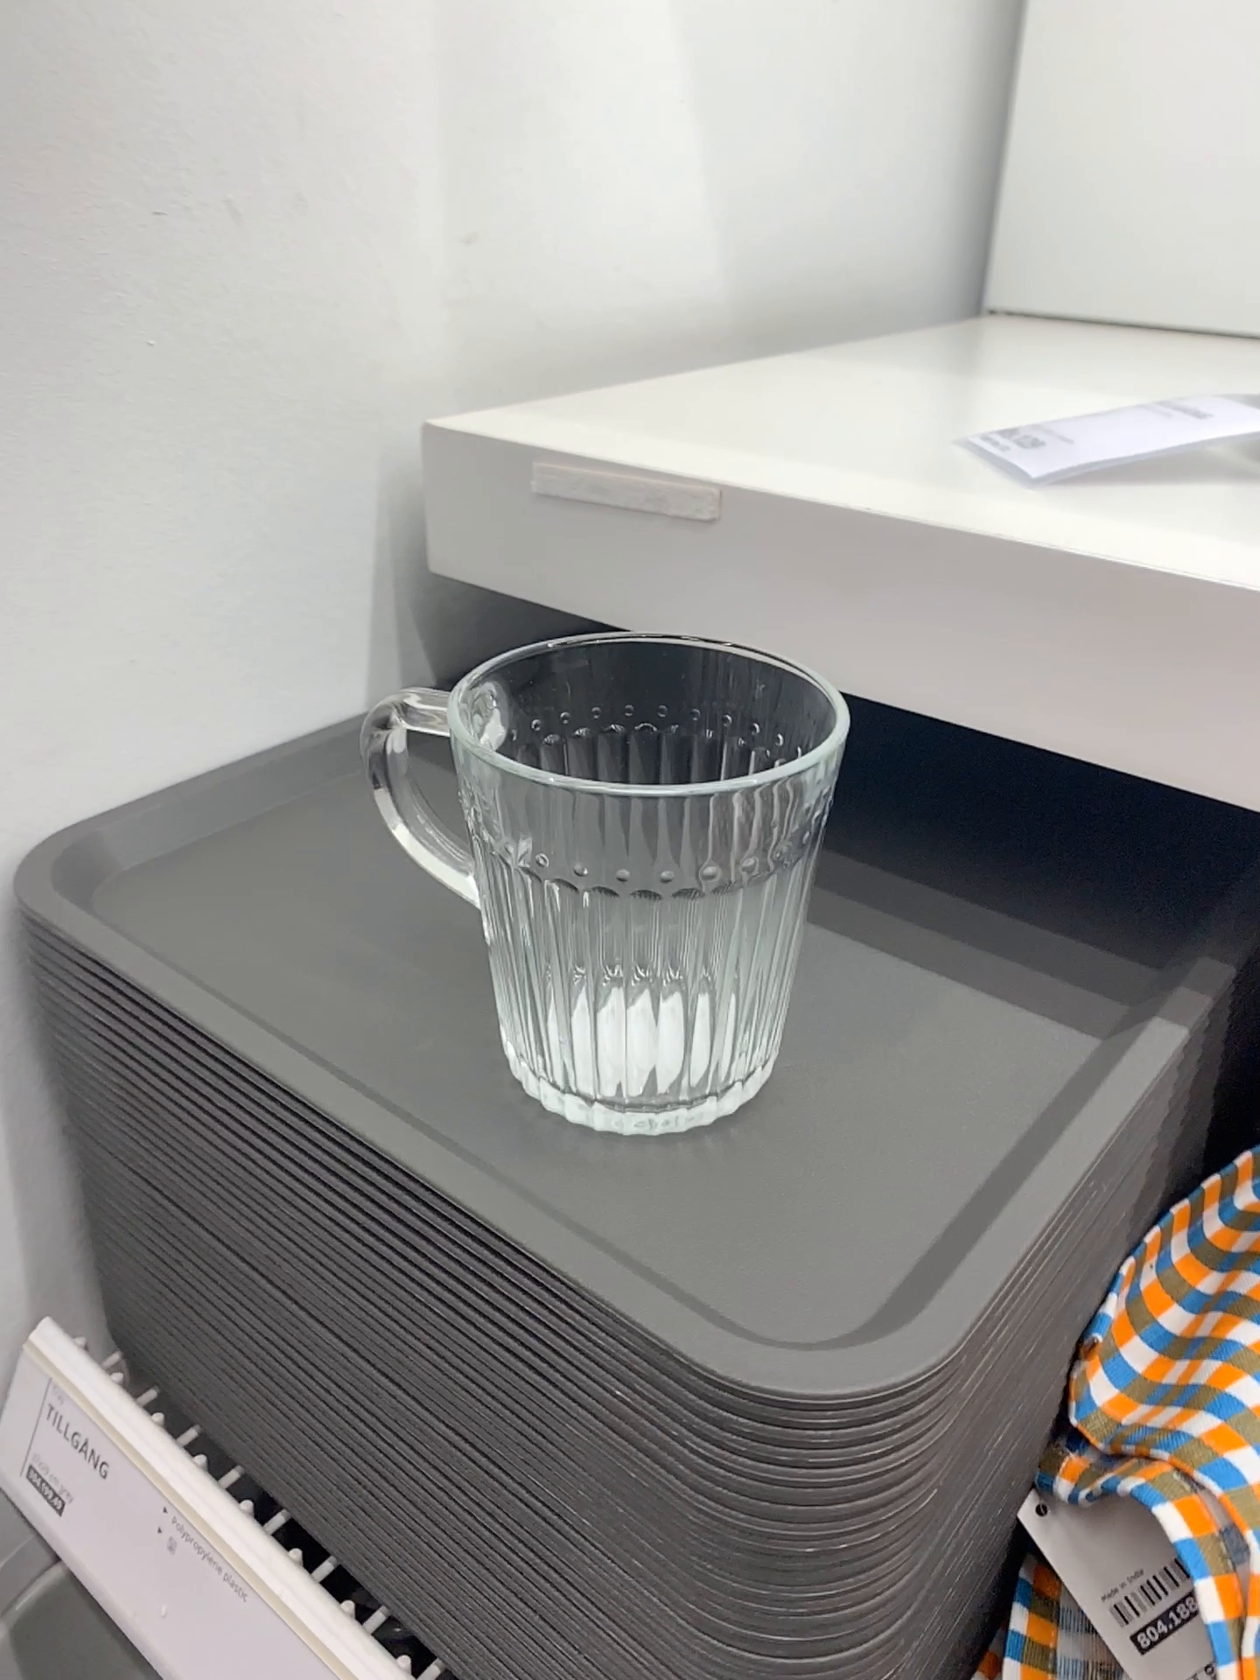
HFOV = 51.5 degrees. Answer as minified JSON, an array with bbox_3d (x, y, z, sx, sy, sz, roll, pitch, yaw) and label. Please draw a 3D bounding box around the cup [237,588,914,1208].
[{"bbox_3d":[-0.010,0.004,0.280,0.110,0.080,0.080,16,31,26],"label":"cup"}]
